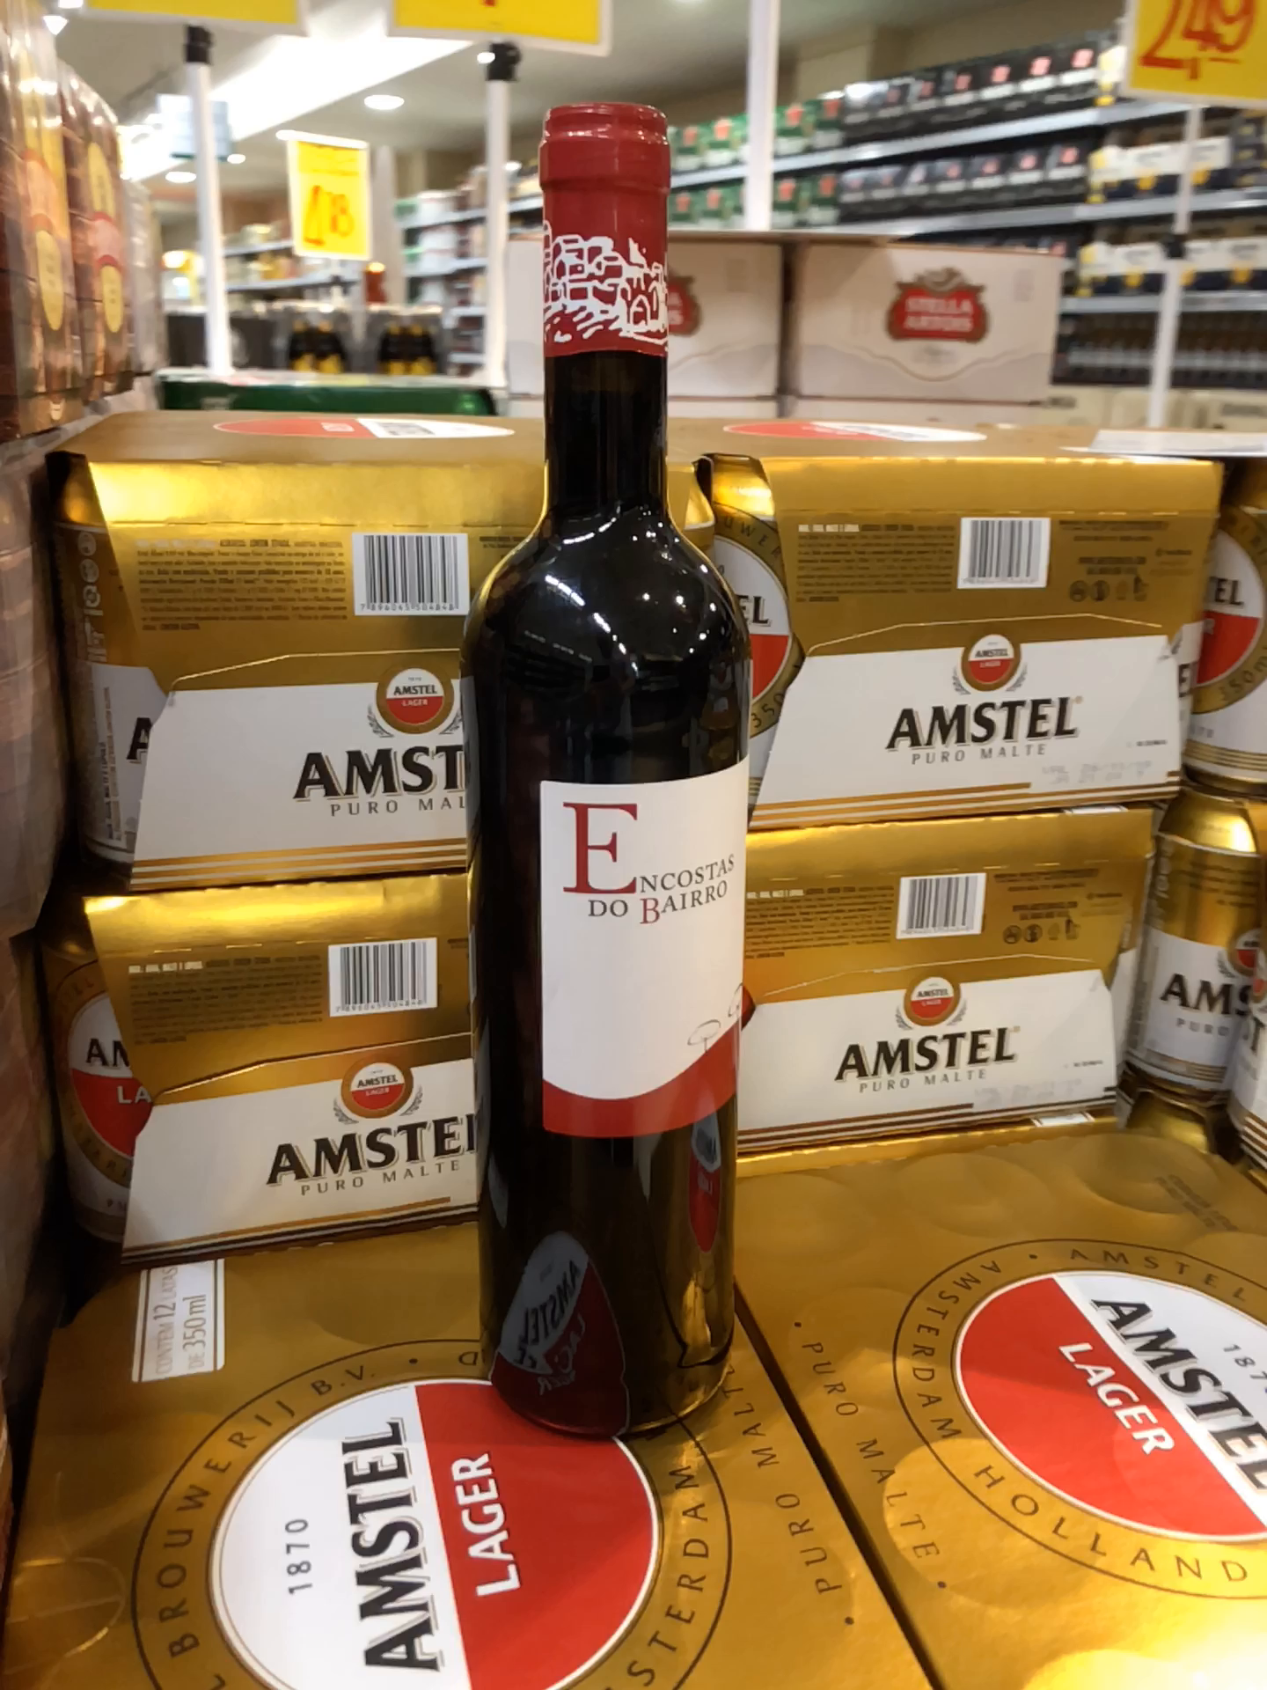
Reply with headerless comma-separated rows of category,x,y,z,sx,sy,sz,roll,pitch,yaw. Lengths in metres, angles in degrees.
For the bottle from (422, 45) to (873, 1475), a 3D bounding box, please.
bottle,-0.005,-0.009,0.348,0.070,0.318,0.070,2,18,-1
